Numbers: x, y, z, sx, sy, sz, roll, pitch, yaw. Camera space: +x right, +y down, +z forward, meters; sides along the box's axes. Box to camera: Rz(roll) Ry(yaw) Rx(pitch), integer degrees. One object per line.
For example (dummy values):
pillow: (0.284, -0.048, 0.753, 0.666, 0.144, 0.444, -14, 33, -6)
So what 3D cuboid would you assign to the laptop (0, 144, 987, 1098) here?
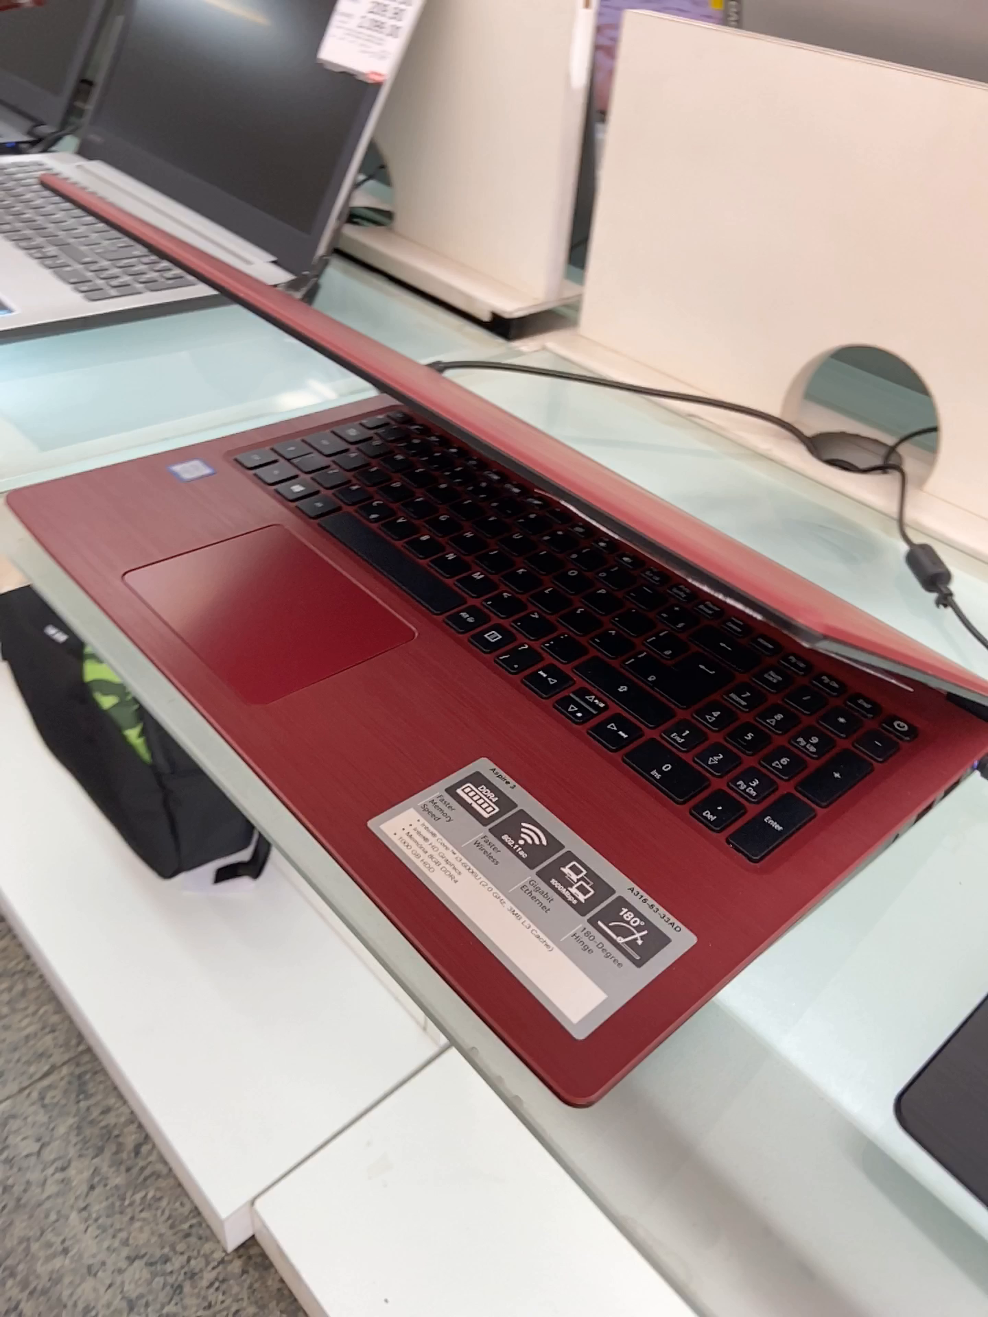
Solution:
laptop: (-0.011, -0.076, 0.397, 0.237, 0.132, 0.380, -26, 48, -35)

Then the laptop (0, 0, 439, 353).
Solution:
laptop: (-0.307, -0.428, 0.731, 0.379, 0.215, 0.354, -26, 50, -34)
